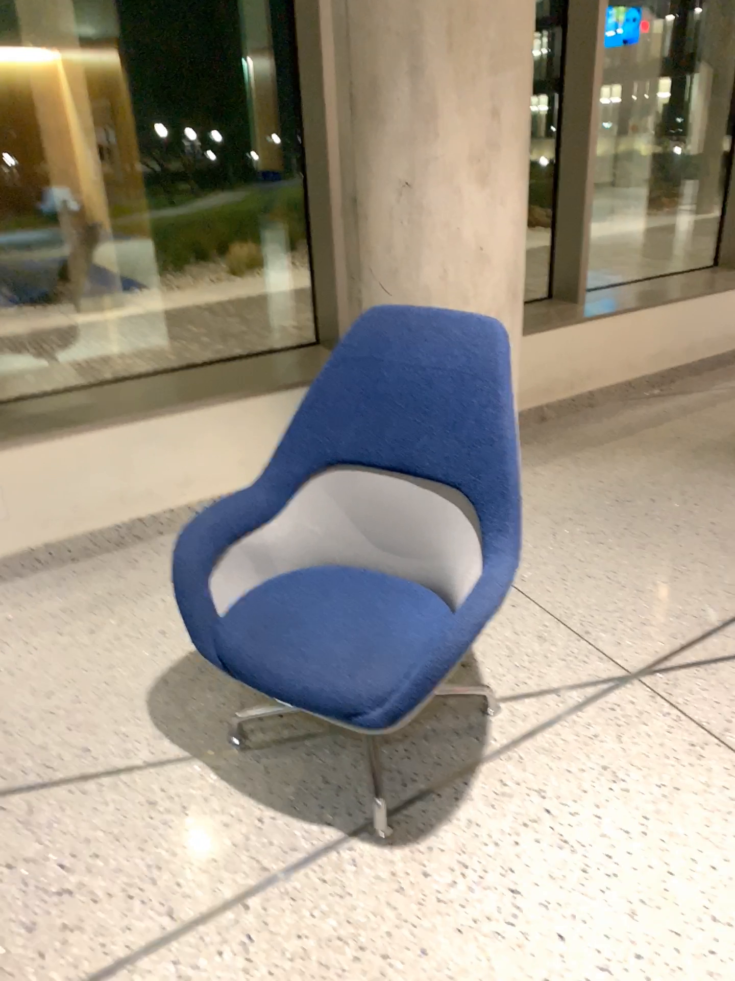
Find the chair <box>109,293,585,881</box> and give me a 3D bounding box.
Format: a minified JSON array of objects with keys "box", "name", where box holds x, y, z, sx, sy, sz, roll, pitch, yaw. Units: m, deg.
[{"box":[-0.016,0.127,1.700,0.717,0.963,0.637,16,30,35],"name":"chair"}]
